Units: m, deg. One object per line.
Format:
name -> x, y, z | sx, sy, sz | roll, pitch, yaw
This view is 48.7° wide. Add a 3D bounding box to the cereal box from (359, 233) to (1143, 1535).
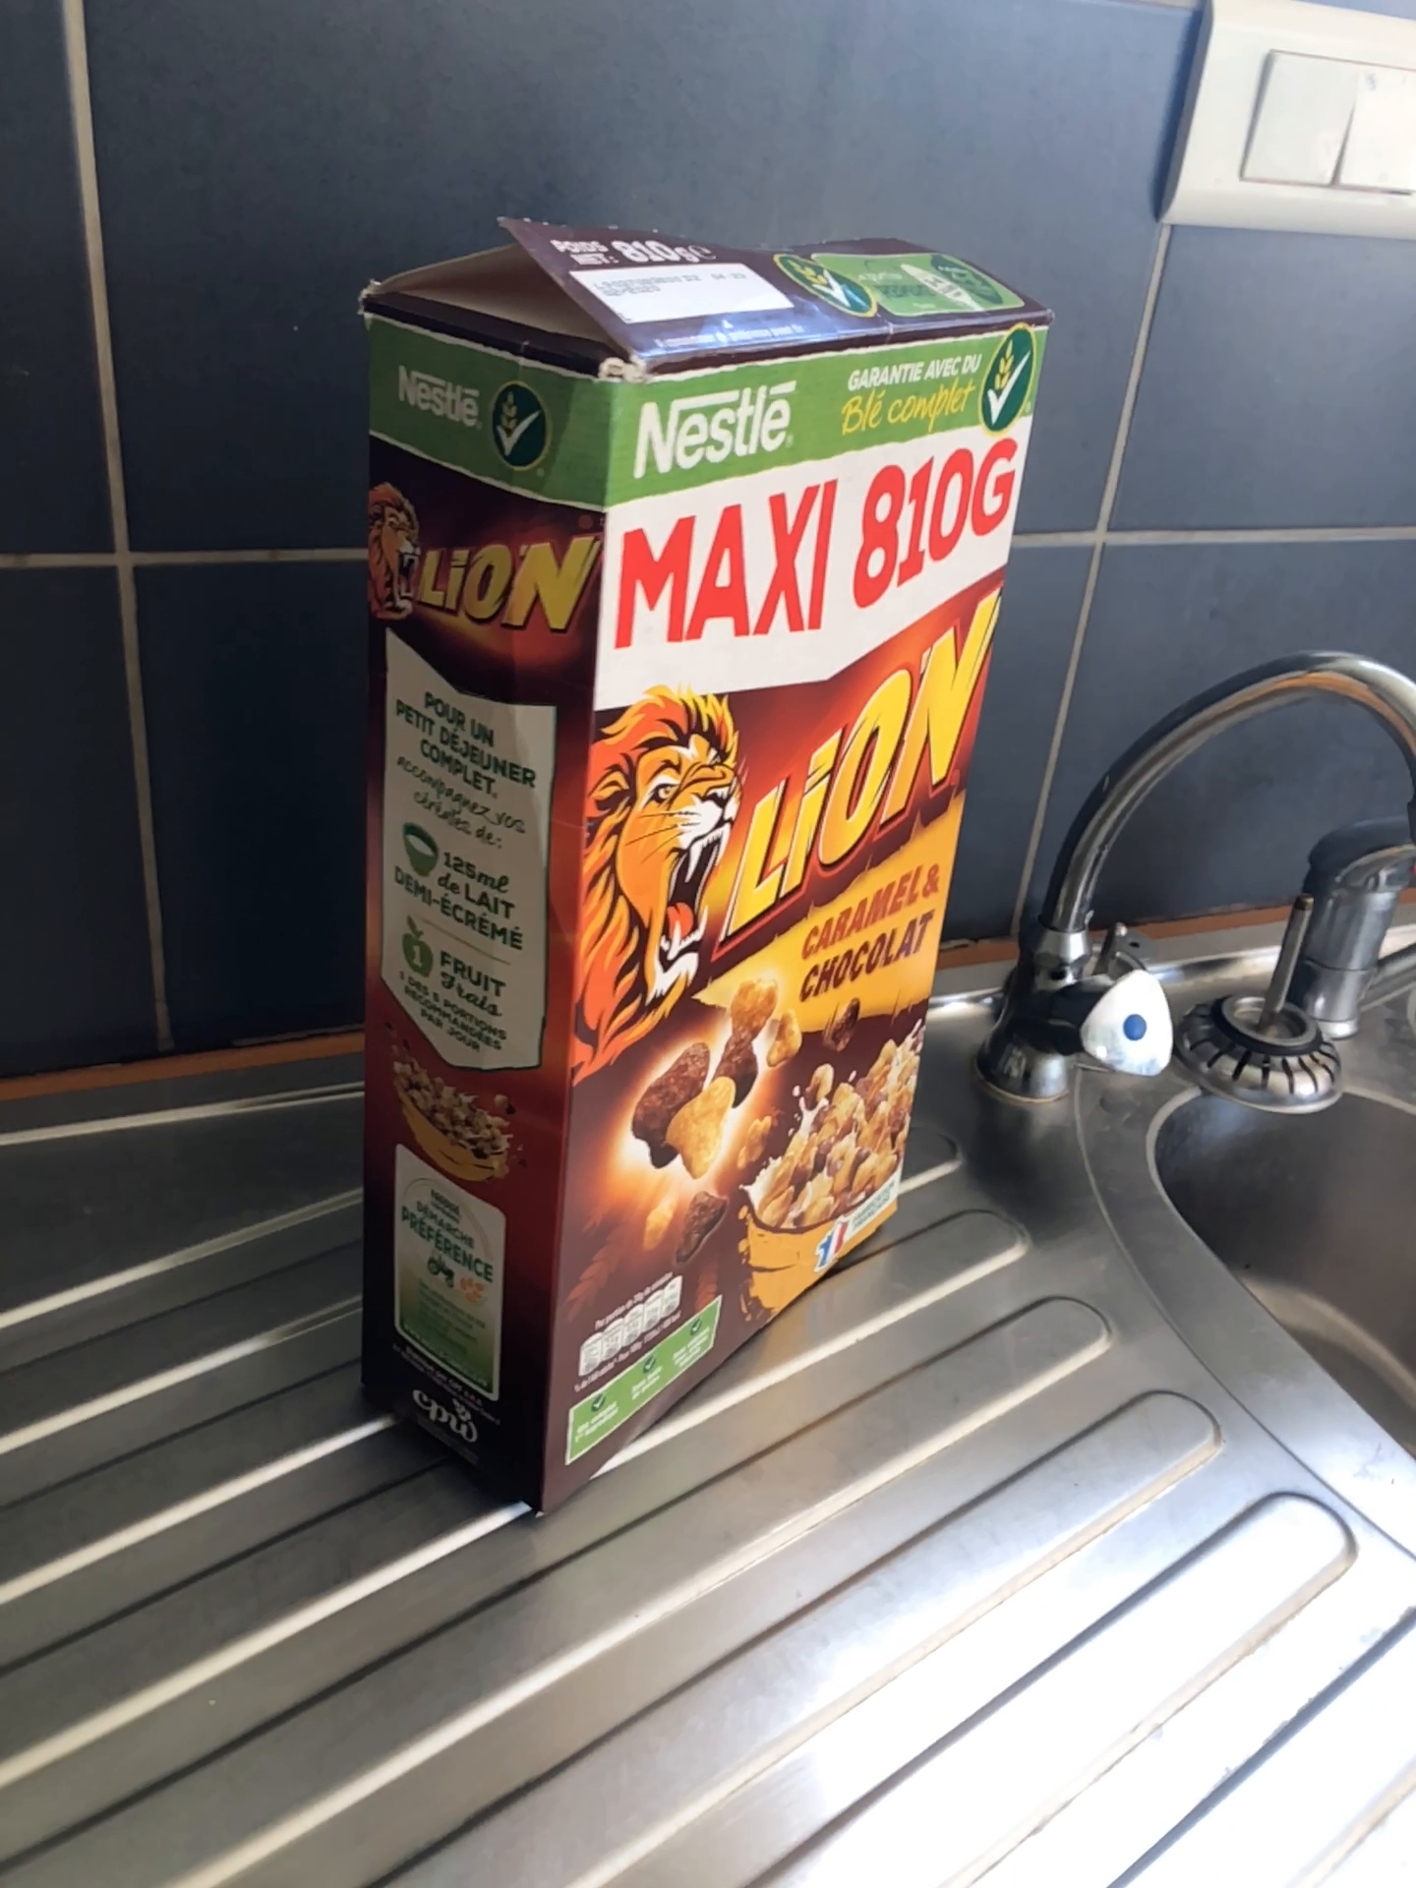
cereal box -> 0.006, -0.023, 0.446 | 0.080, 0.318, 0.201 | 26, 35, 31
